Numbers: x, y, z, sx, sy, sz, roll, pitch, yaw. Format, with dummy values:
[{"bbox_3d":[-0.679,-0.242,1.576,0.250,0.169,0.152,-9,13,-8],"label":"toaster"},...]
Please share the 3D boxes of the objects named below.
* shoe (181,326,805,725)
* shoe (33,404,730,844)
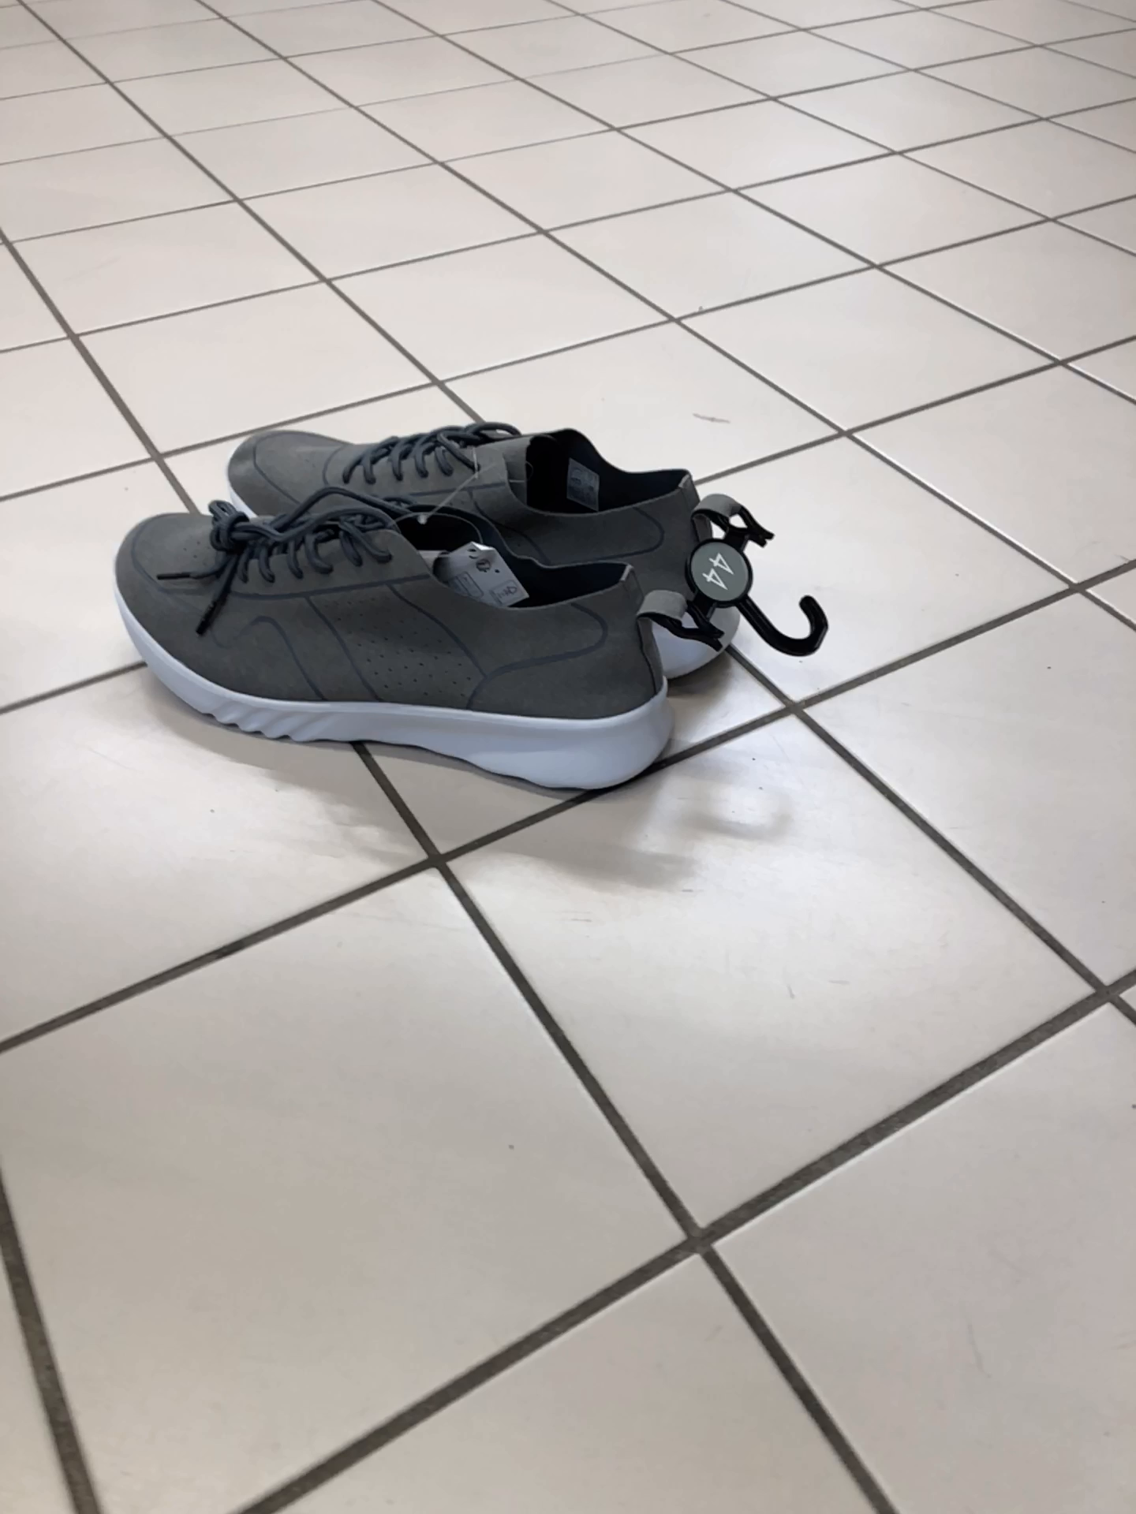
[{"bbox_3d":[-0.039,-0.128,0.652,0.290,0.099,0.111,18,46,18],"label":"shoe"},{"bbox_3d":[-0.083,-0.070,0.589,0.290,0.099,0.111,15,45,16],"label":"shoe"}]
